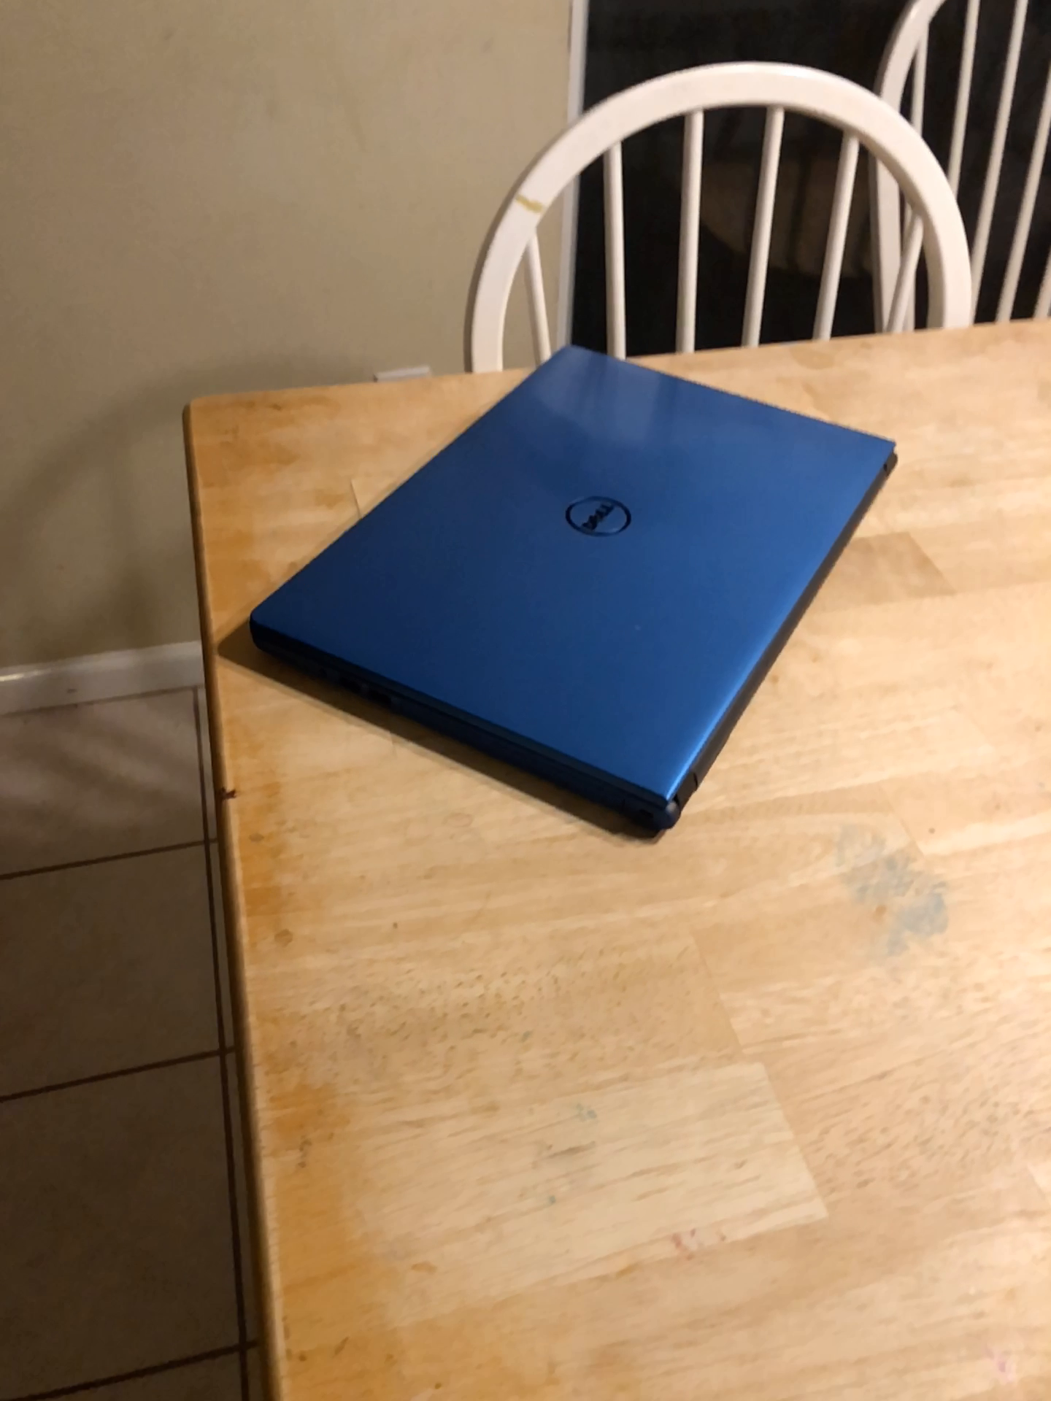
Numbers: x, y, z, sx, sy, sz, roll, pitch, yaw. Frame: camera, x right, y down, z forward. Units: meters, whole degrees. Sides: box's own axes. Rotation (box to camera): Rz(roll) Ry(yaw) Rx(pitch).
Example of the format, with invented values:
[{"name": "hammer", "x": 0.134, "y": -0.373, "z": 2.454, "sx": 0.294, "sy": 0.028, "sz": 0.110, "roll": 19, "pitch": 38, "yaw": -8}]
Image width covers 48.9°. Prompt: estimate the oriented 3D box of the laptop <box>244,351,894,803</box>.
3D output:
[{"name": "laptop", "x": 0.050, "y": -0.111, "z": 0.729, "sx": 0.259, "sy": 0.001, "sz": 0.390, "roll": 22, "pitch": 47, "yaw": 20}]
